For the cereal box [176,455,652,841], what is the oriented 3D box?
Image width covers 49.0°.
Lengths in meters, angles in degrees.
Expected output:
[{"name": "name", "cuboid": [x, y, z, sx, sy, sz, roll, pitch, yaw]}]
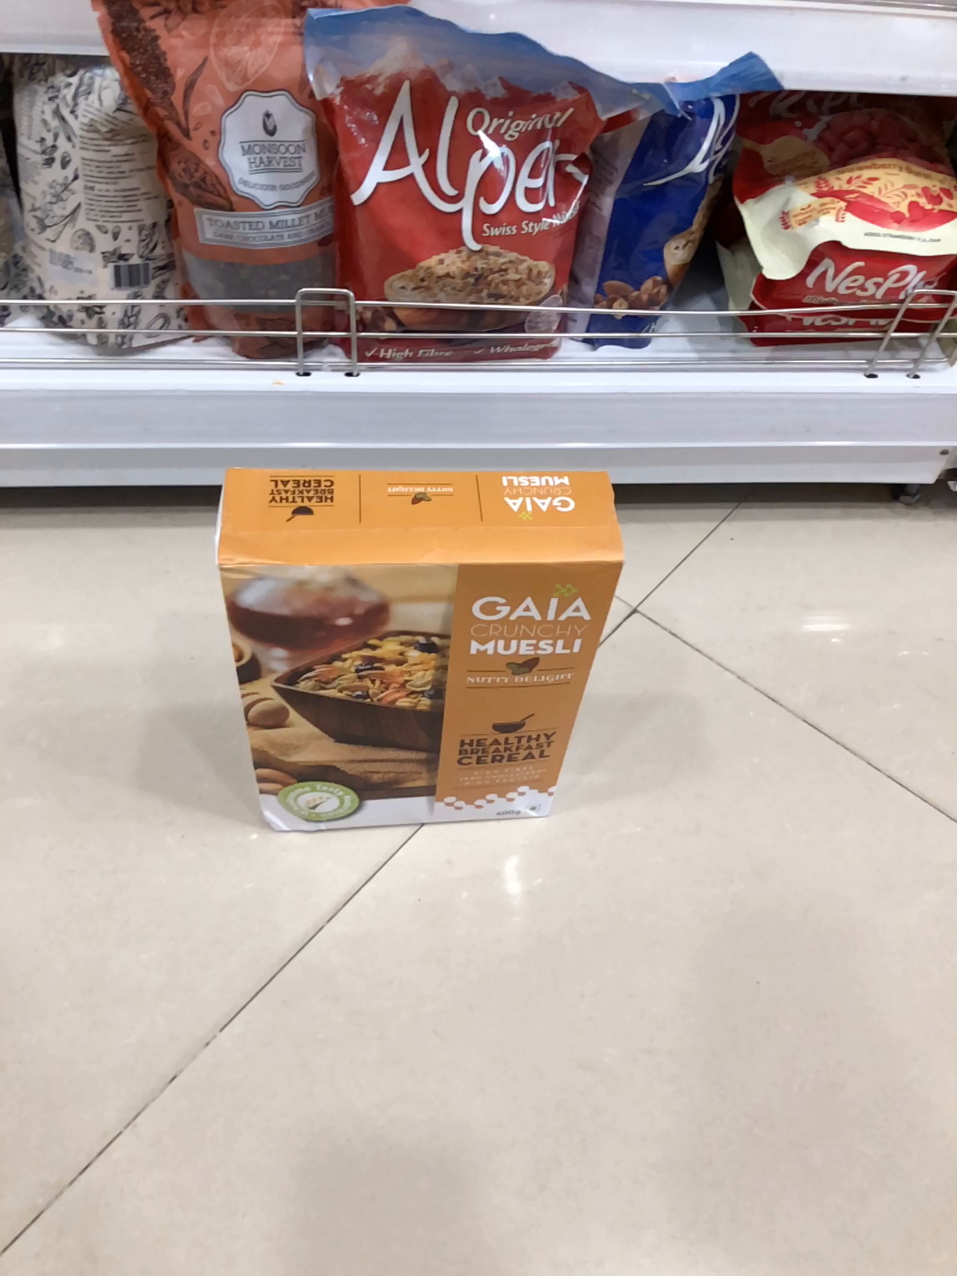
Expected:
[{"name": "cereal box", "cuboid": [-0.036, 0.019, 0.538, 0.190, 0.249, 0.060, -1, 54, -6]}]
